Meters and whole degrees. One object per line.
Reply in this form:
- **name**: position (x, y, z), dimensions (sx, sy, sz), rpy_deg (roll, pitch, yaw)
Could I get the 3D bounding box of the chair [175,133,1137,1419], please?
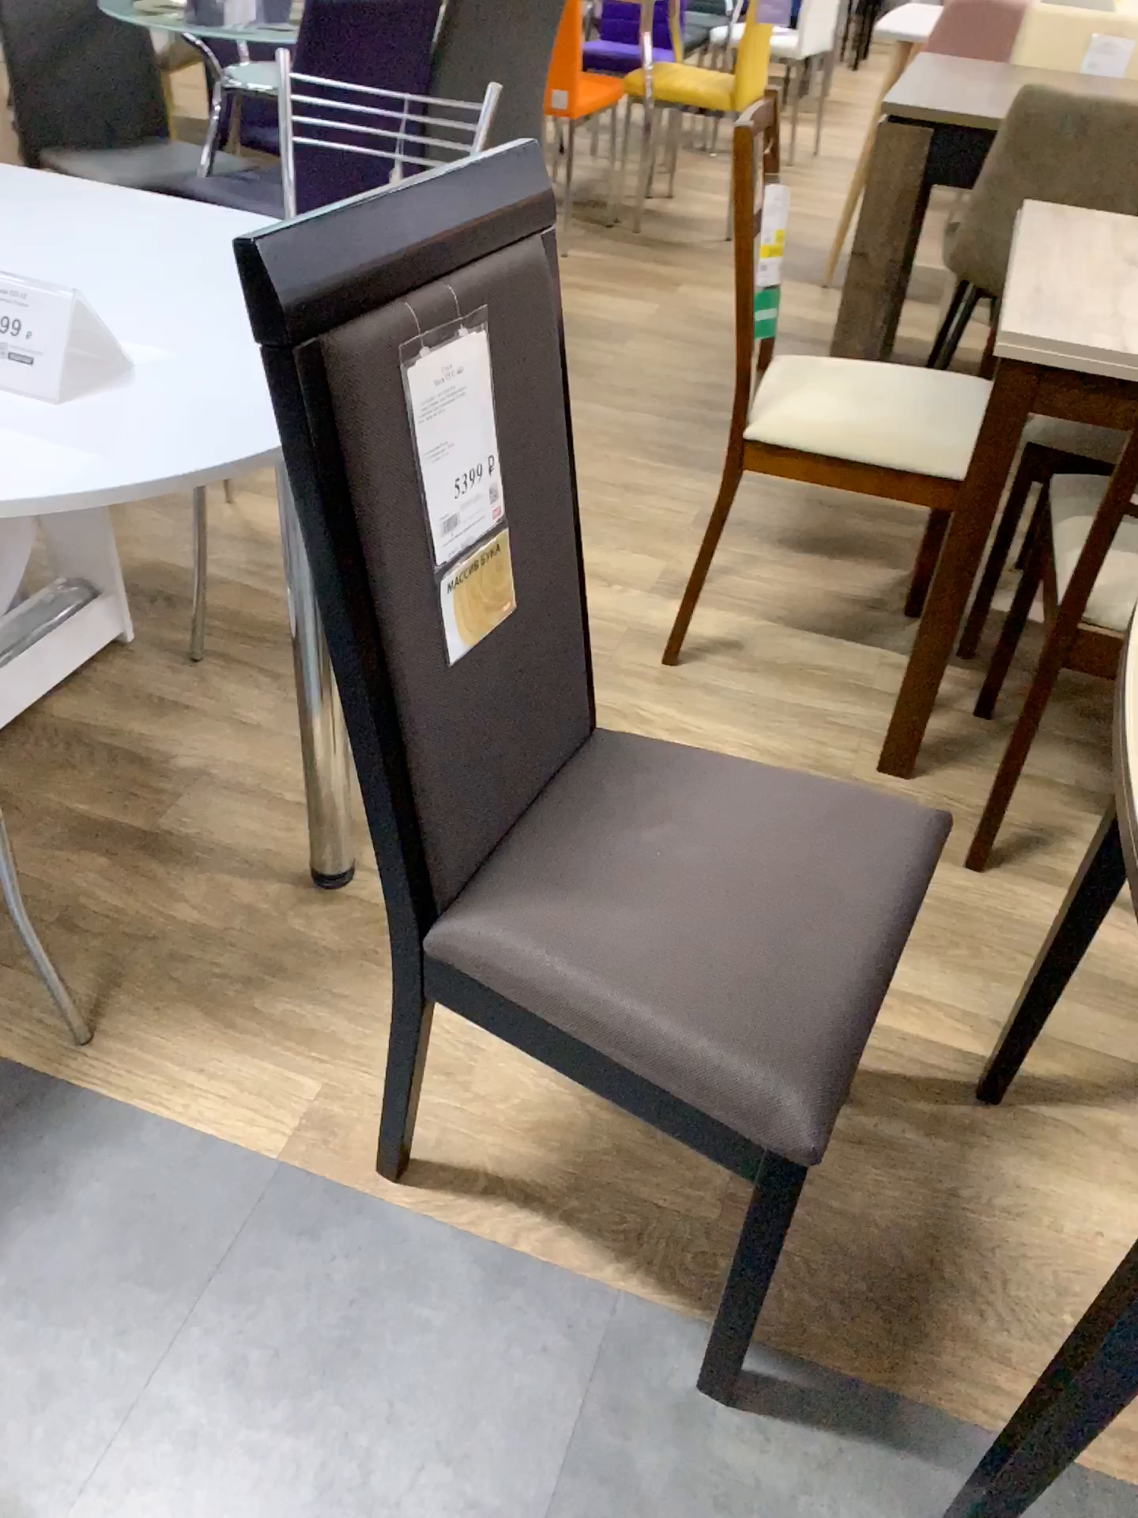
- **chair**: position (0.062, 0.058, 1.065), dimensions (0.500, 0.994, 0.442), rpy_deg (21, 42, 19)
